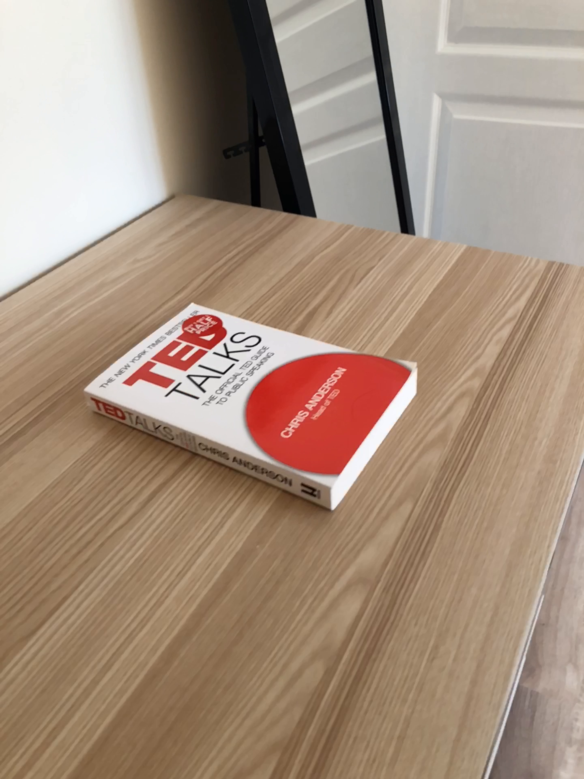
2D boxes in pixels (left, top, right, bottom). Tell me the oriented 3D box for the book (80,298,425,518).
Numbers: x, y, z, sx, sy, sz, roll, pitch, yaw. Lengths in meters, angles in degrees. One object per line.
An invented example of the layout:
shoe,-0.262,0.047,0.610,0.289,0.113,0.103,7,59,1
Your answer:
book,-0.029,0.000,0.491,0.220,0.030,0.139,18,44,26
